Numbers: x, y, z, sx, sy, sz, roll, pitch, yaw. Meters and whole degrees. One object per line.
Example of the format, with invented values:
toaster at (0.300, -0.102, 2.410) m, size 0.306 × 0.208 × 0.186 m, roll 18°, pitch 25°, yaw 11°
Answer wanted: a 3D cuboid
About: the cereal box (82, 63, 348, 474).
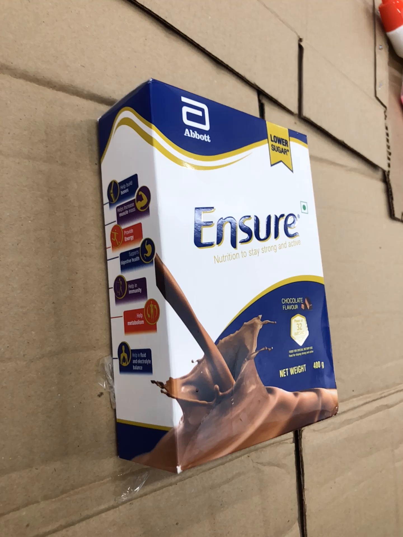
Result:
cereal box at (0.013, 0.000, 0.259) m, size 0.141 × 0.050 × 0.180 m, roll 1°, pitch 80°, yaw -42°
